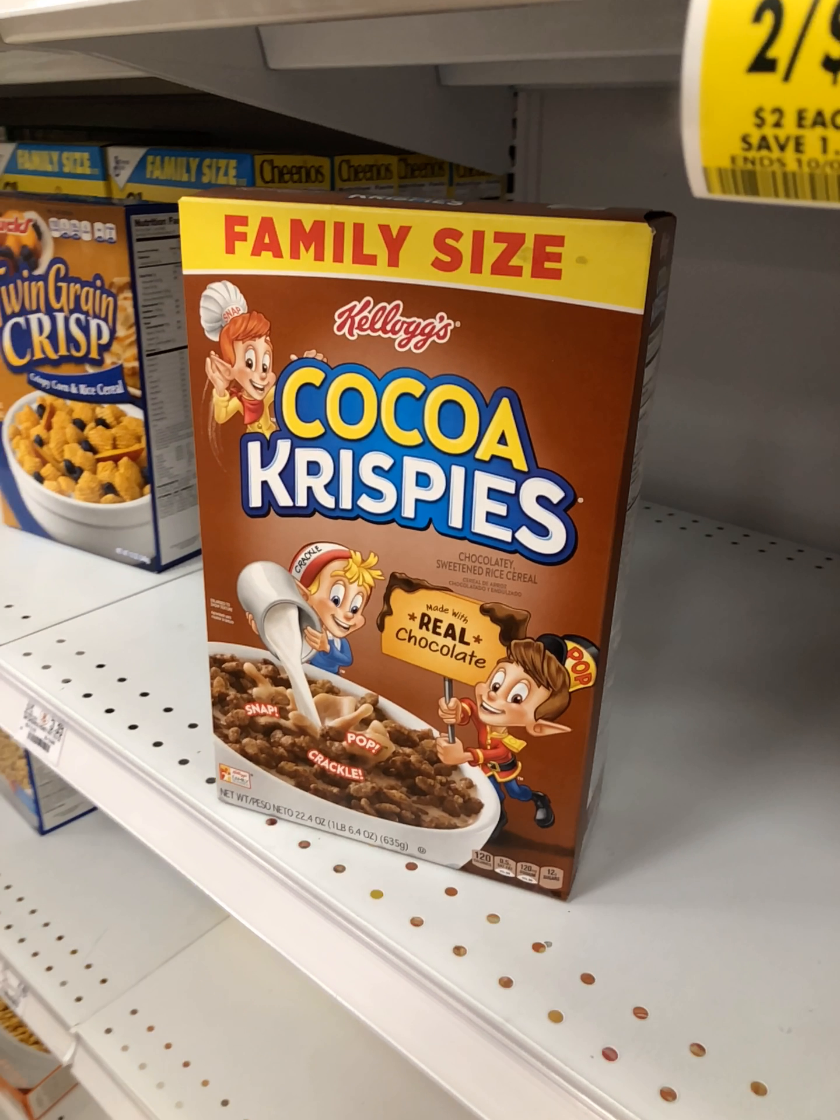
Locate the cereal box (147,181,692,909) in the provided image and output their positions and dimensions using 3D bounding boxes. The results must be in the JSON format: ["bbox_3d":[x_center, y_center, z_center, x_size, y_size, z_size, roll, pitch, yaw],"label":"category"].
[{"bbox_3d":[-0.001,-0.008,0.423,0.200,0.299,0.070,9,26,20],"label":"cereal box"}]
